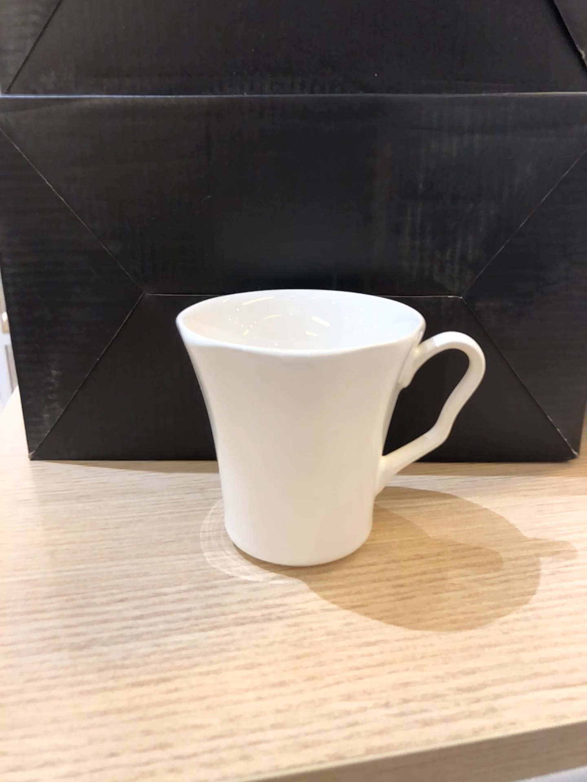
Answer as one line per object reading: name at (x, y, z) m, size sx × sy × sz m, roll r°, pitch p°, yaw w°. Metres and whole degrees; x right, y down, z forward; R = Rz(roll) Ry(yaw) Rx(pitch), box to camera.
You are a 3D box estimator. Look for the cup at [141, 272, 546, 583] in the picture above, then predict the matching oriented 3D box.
cup at (0.012, 0.006, 0.228) m, size 0.110 × 0.080 × 0.080 m, roll -1°, pitch 21°, yaw -3°
